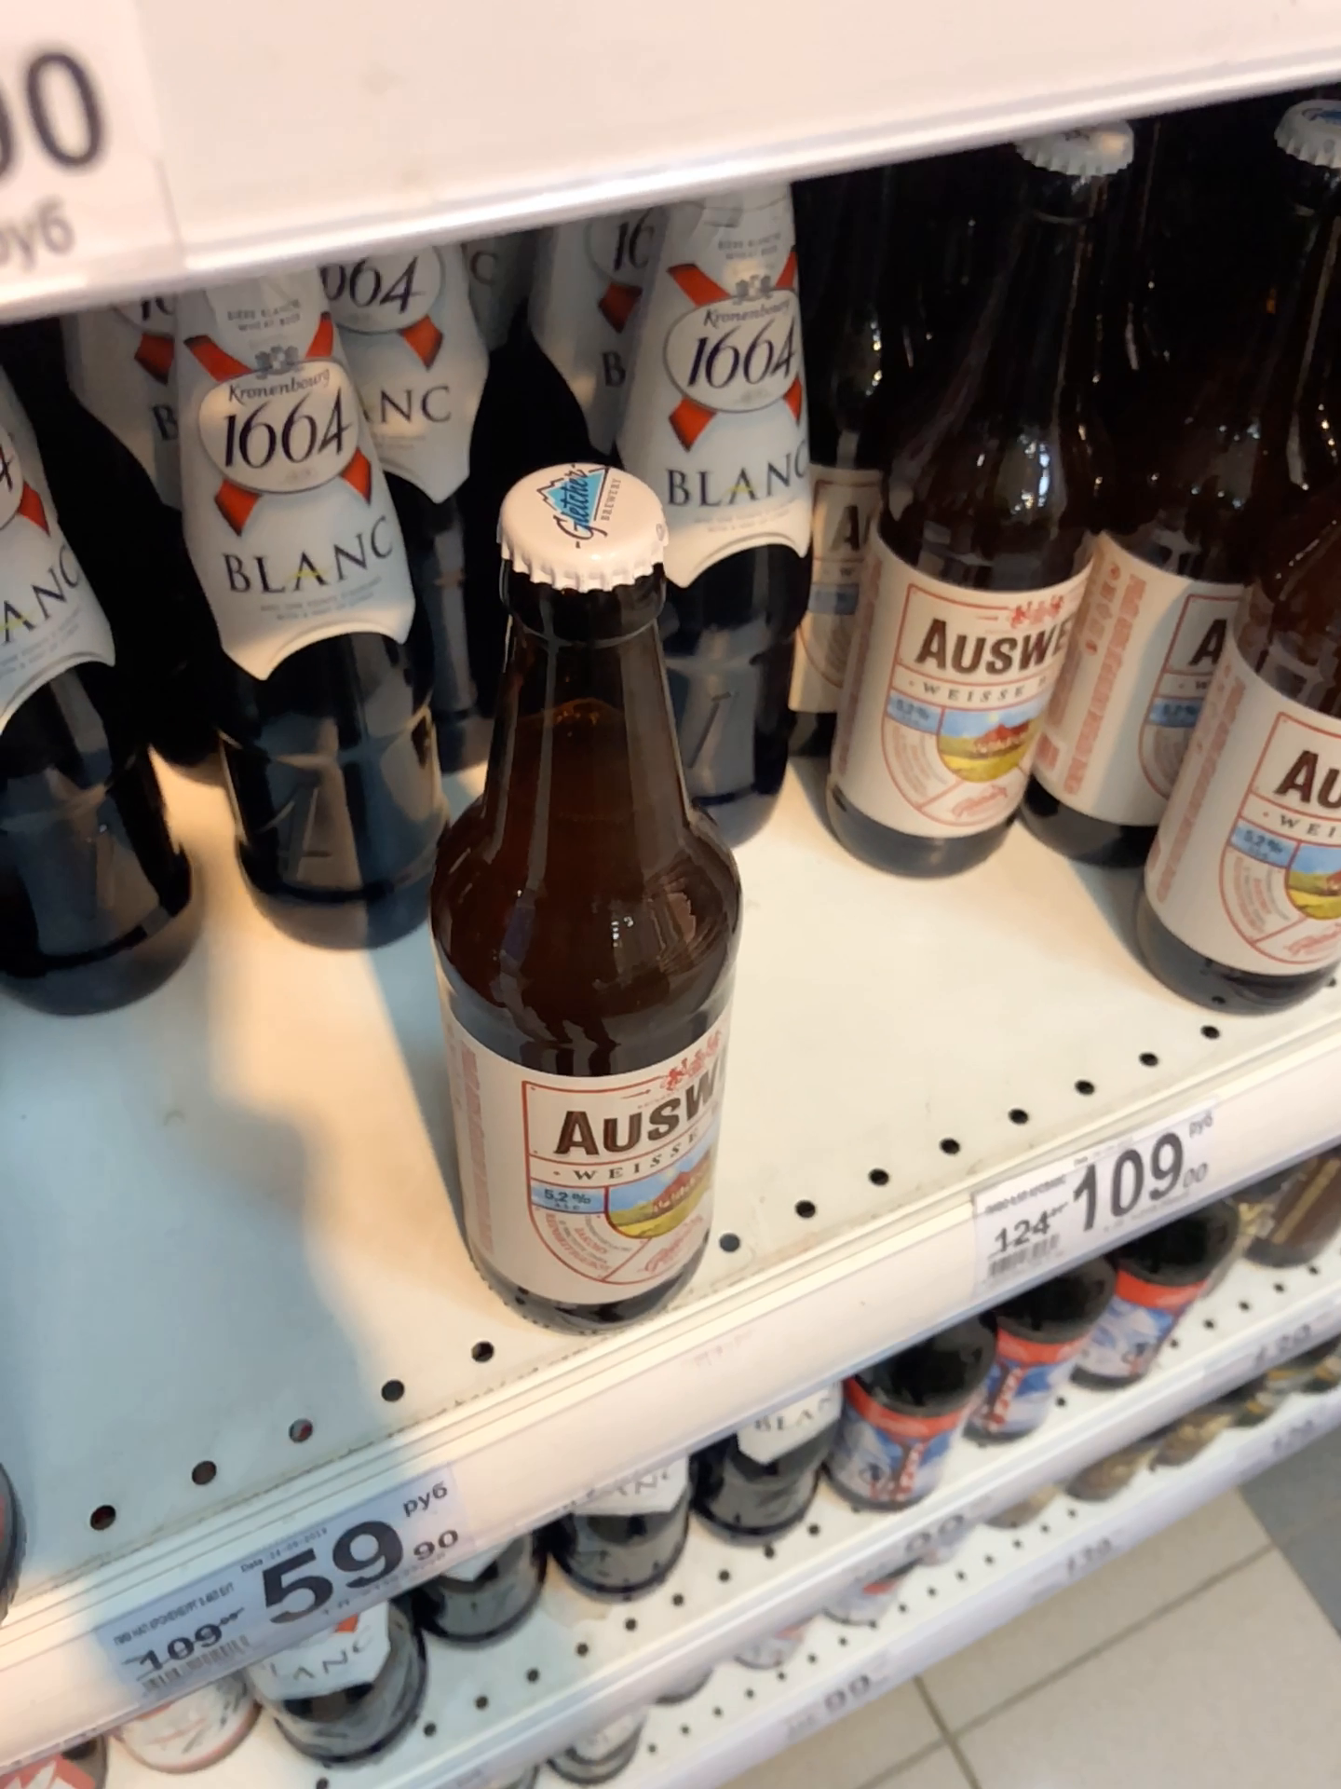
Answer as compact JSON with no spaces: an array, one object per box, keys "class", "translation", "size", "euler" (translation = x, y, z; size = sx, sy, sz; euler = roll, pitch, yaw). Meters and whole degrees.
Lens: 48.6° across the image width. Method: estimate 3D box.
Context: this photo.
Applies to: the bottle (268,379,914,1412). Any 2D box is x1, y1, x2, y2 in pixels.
[{"class":"bottle","translation":[-0.016,0.019,0.329],"size":[0.070,0.229,0.080],"euler":[32,55,22]}]
